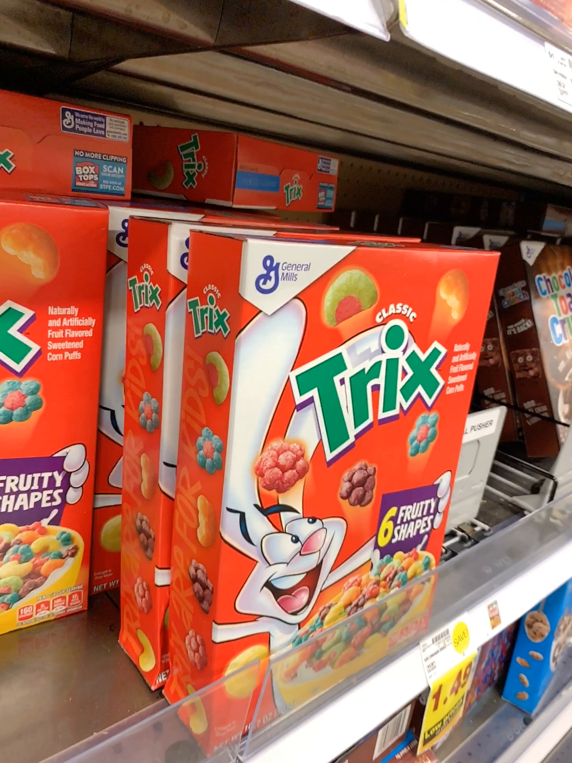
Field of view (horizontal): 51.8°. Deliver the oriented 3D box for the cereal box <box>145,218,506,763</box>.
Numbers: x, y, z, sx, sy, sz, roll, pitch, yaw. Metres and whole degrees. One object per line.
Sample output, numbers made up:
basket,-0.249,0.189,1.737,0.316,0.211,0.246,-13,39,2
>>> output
cereal box,0.025,0.058,0.368,0.200,0.289,0.060,-7,22,-41
